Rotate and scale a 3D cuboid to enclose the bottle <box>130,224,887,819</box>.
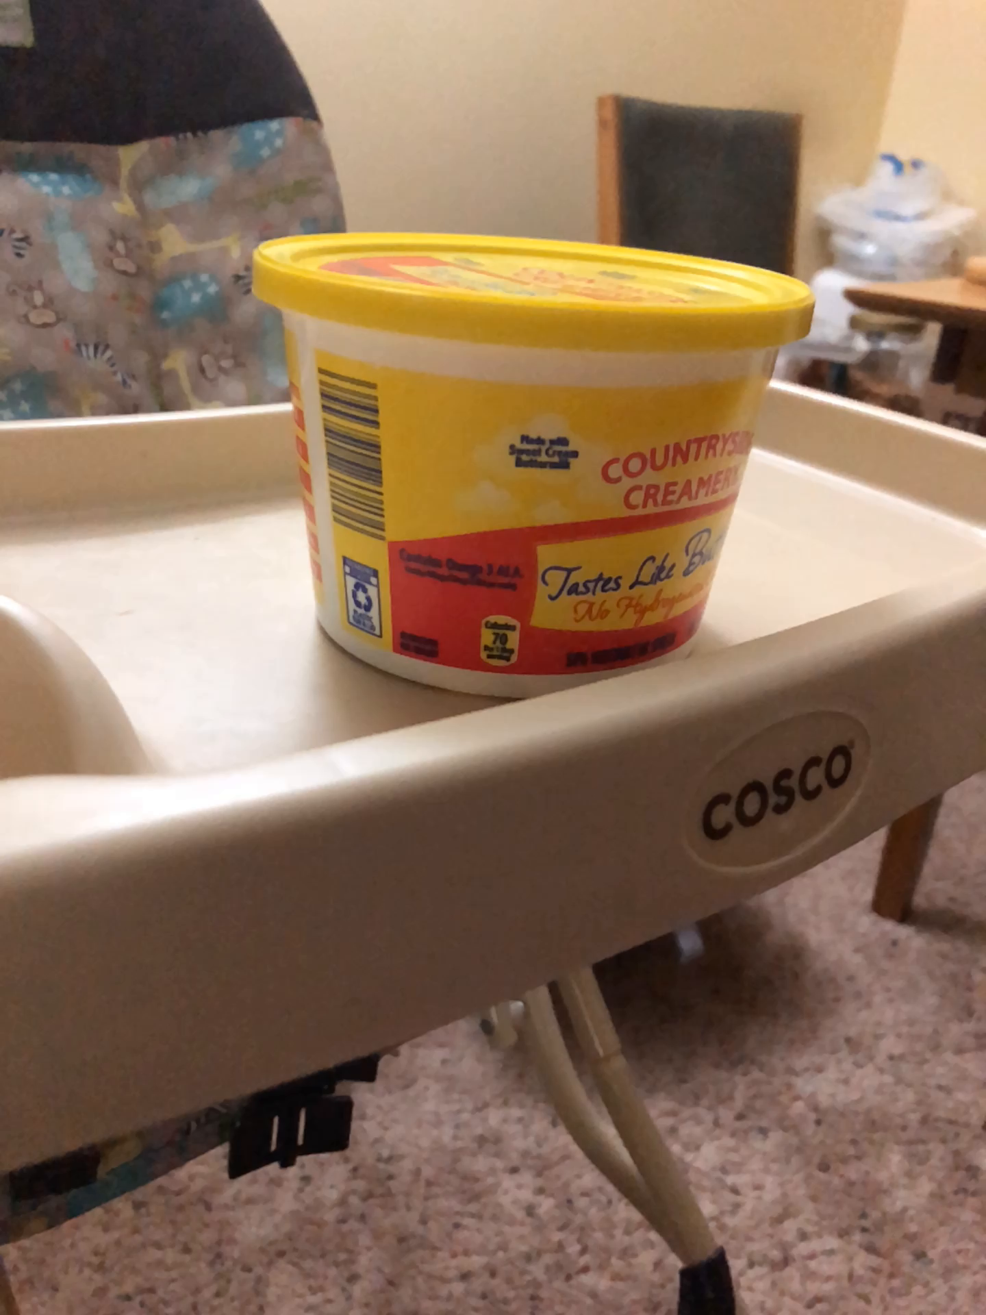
[{"bbox_3d":[-0.003,-0.044,0.252,0.120,0.090,0.110,4,25,-2],"label":"bottle"}]
